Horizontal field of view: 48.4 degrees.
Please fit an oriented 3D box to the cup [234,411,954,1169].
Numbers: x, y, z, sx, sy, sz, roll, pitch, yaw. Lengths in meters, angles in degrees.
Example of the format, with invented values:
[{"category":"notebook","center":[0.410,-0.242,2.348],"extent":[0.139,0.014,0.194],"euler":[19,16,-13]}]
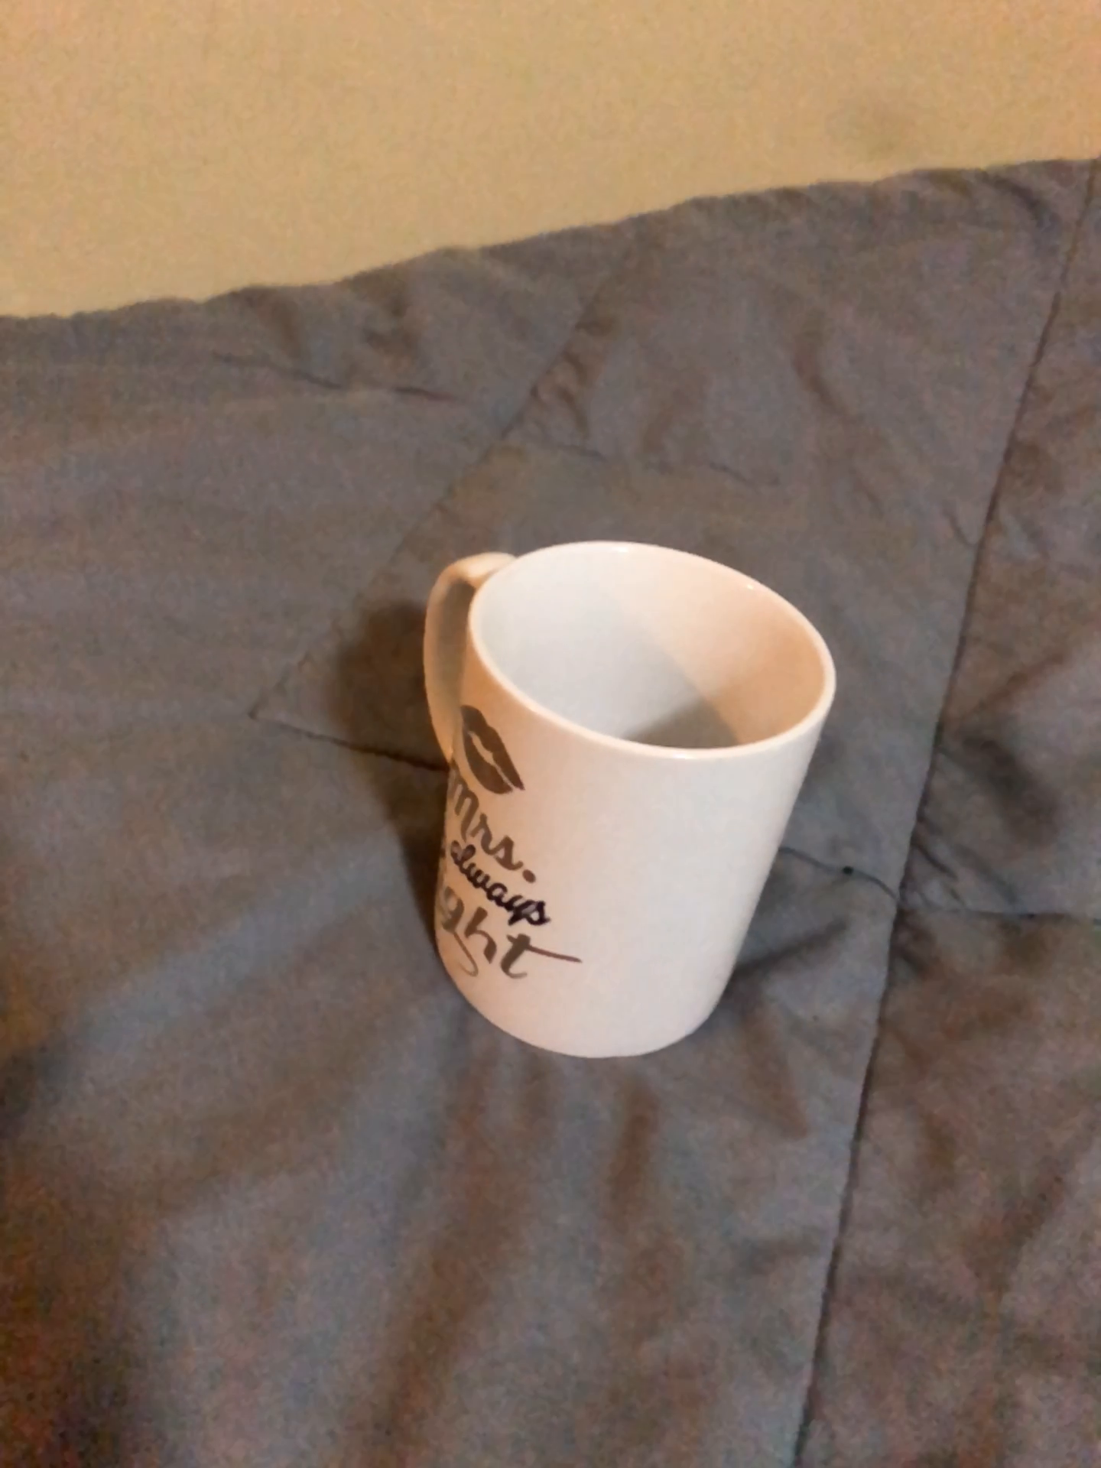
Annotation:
[{"category":"cup","center":[-0.001,0.003,0.331],"extent":[0.110,0.110,0.150],"euler":[-18,46,-29]}]
